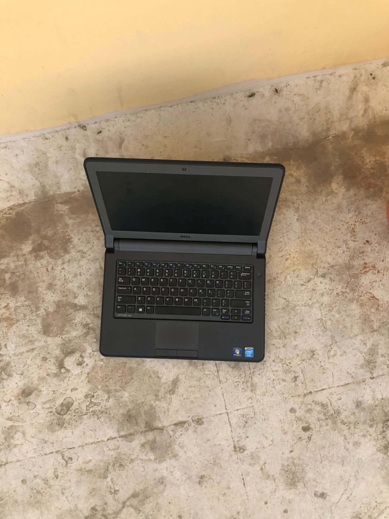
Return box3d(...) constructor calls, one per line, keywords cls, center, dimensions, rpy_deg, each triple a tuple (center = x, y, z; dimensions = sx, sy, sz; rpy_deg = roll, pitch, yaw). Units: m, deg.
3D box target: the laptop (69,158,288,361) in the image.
box3d(cls="laptop", center=(-0.017, 0.009, 0.735), dimensions=(0.308, 0.209, 0.299), rpy_deg=(2, 80, 2))
